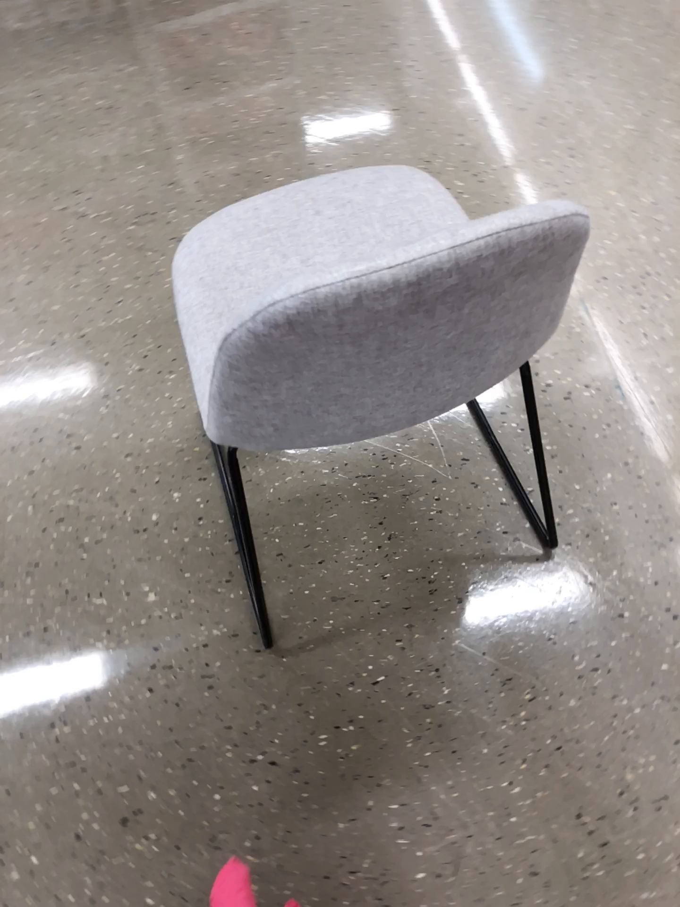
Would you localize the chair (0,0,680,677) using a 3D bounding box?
[{"bbox_3d":[0.043,-0.170,0.979,0.590,0.779,0.581,-17,61,-6],"label":"chair"}]
